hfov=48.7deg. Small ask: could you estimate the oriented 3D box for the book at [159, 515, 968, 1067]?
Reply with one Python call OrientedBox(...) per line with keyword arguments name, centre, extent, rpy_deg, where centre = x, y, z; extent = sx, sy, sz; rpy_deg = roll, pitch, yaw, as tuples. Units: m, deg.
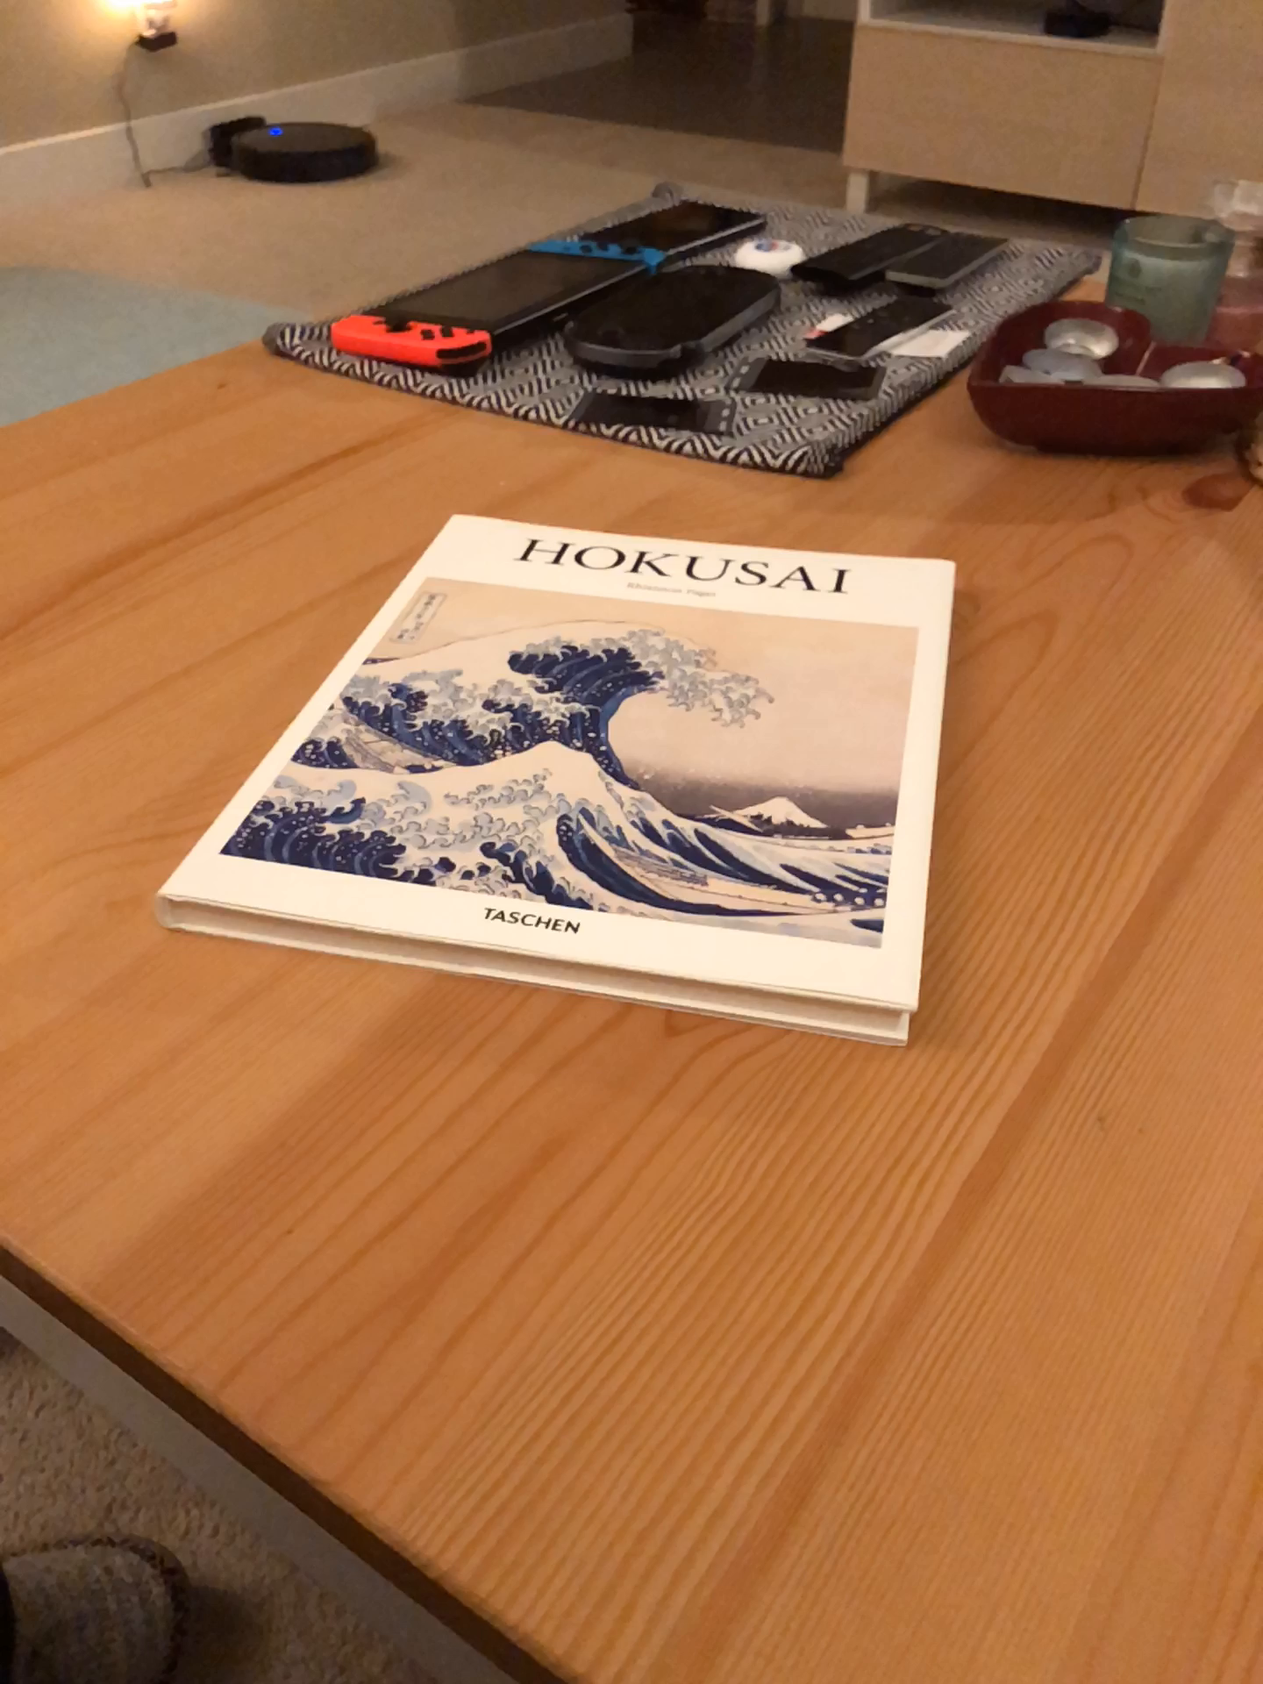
OrientedBox(name="book", centre=(0.000, -0.039, 0.470), extent=(0.210, 0.020, 0.253), rpy_deg=(8, 38, 10))
